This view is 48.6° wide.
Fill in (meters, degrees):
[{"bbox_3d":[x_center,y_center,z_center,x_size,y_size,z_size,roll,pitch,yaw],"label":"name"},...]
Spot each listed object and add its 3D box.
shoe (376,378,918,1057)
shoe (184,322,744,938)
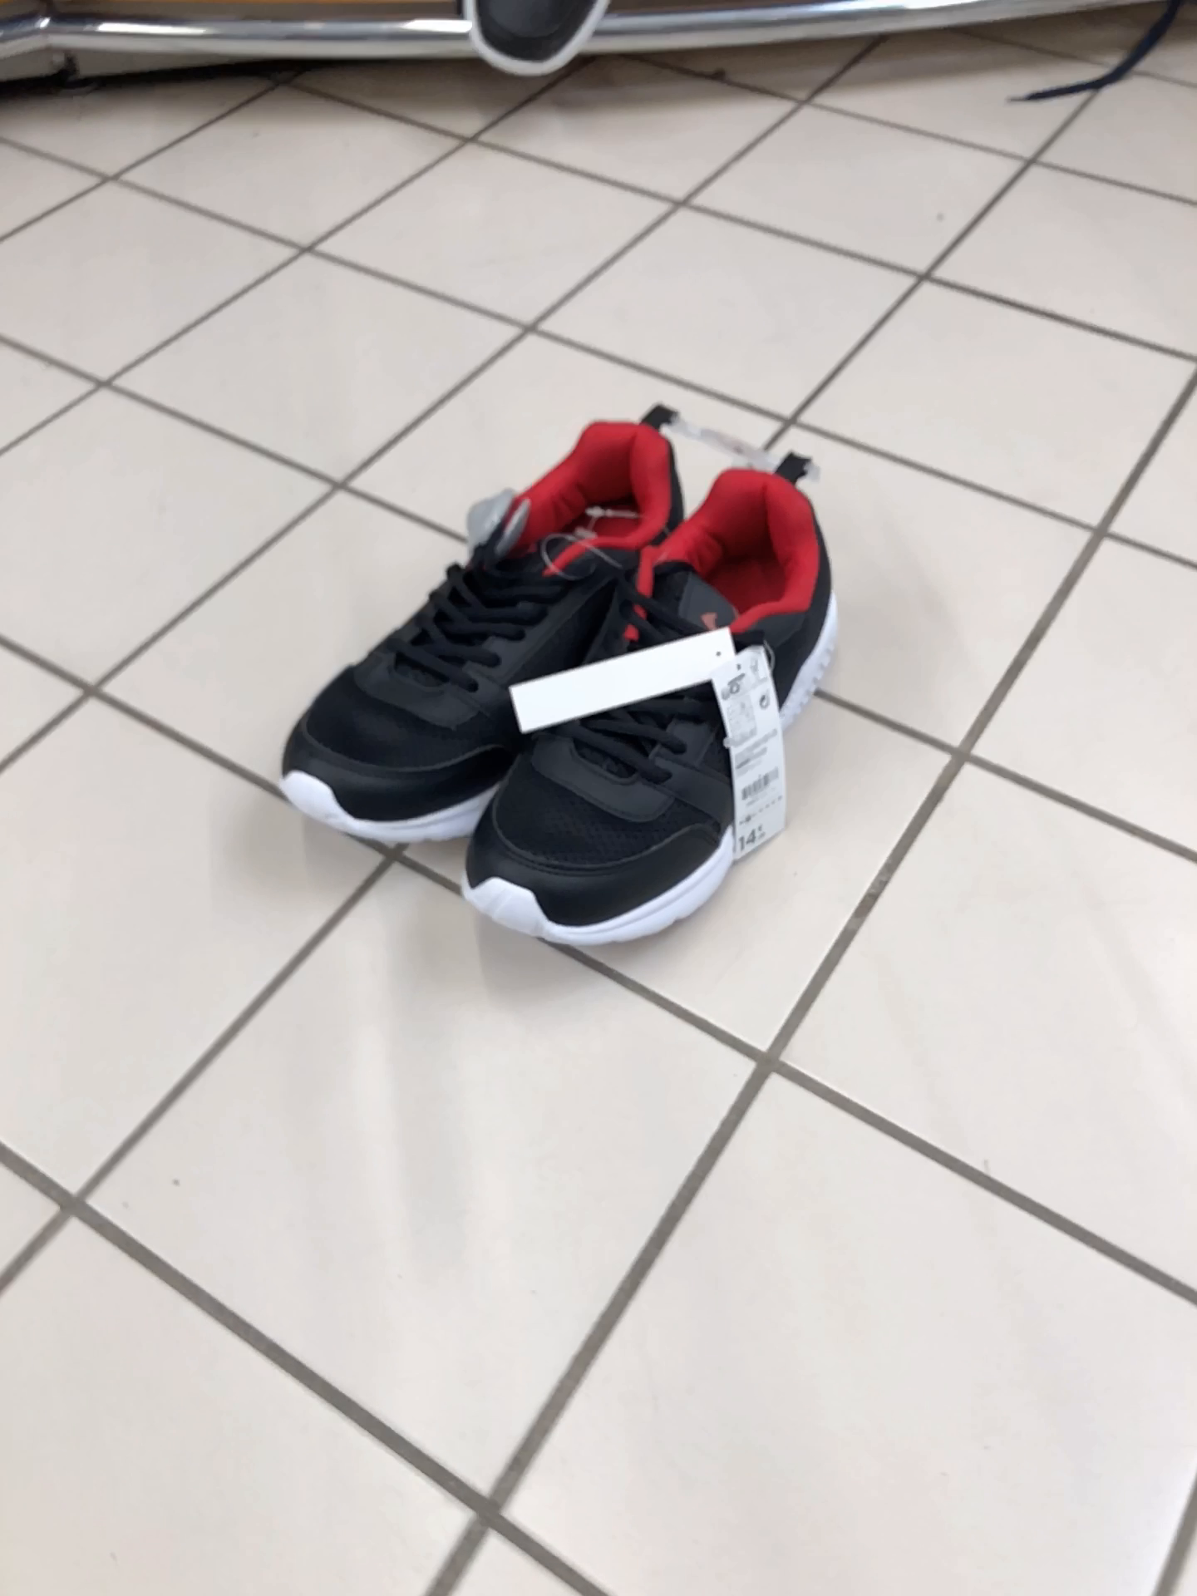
[{"bbox_3d":[0.035,-0.049,0.613,0.100,0.129,0.296,24,55,19],"label":"shoe"},{"bbox_3d":[-0.047,-0.092,0.645,0.100,0.129,0.286,26,56,21],"label":"shoe"}]
